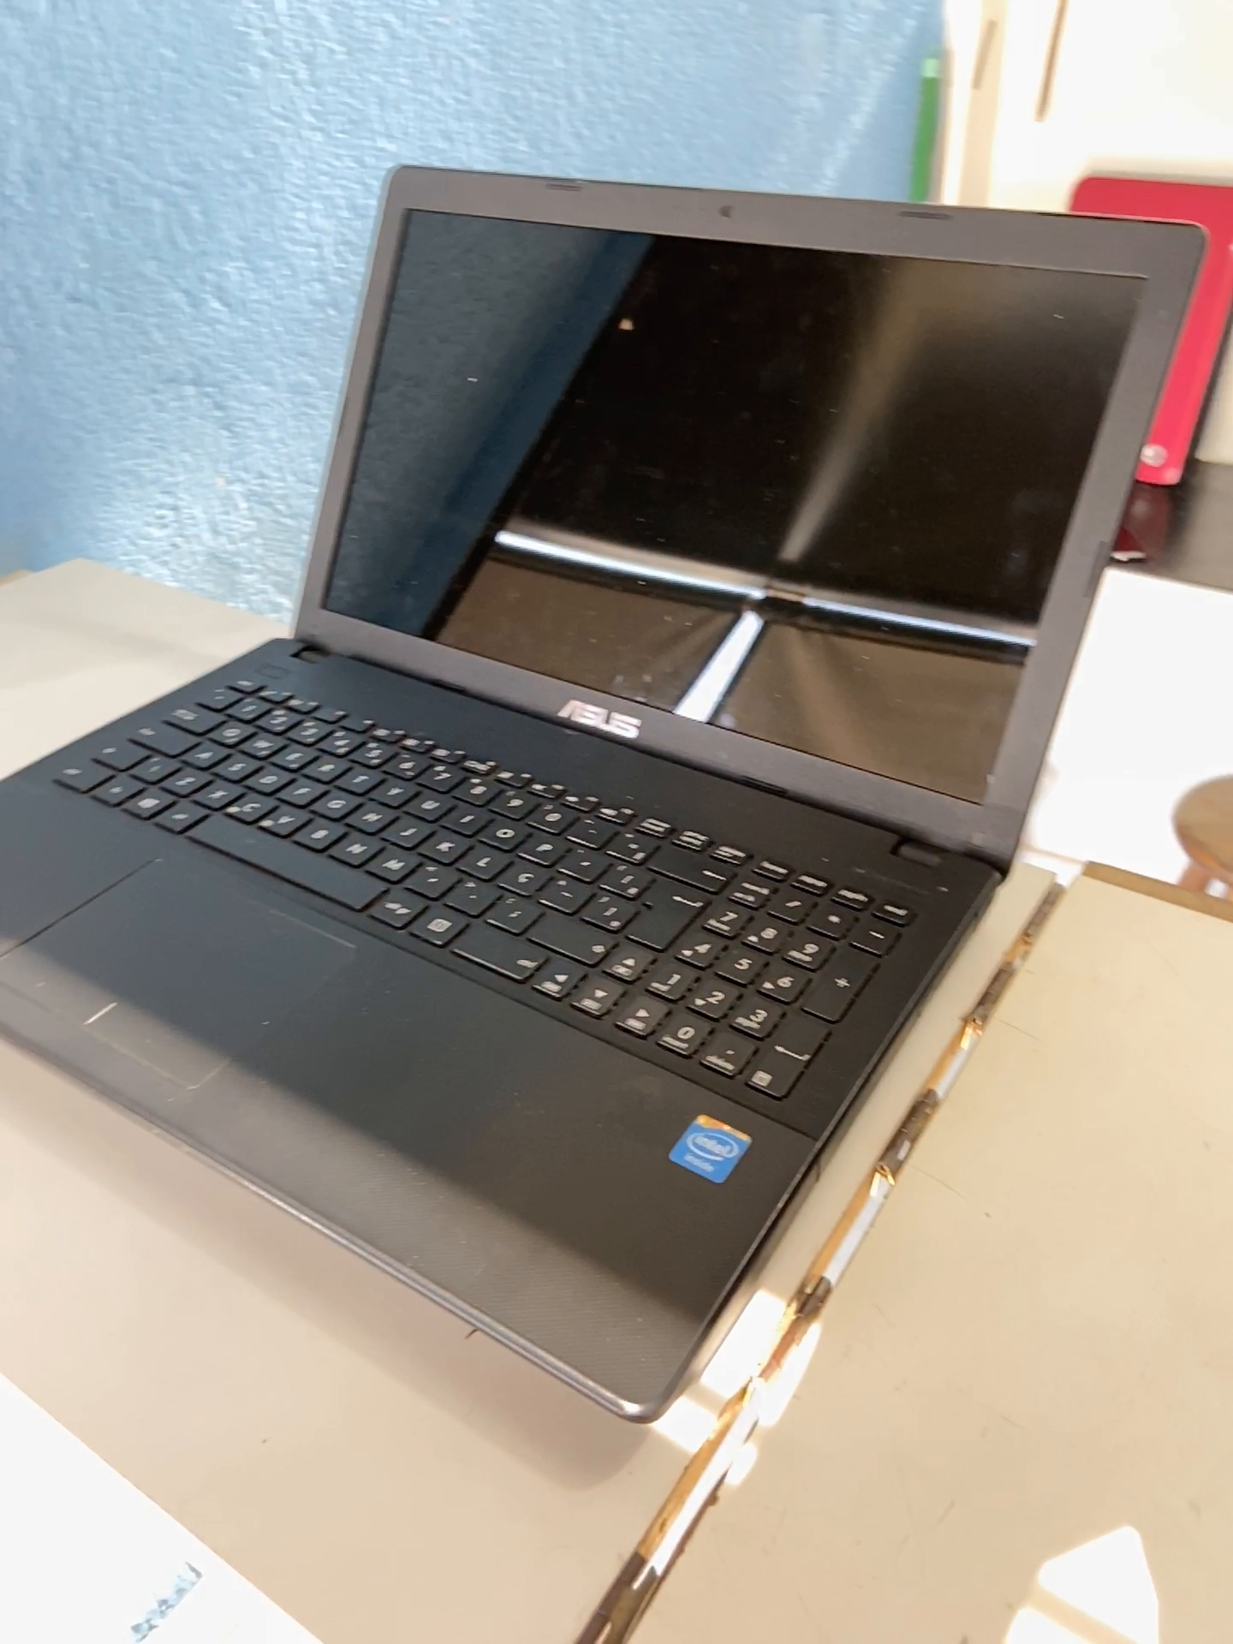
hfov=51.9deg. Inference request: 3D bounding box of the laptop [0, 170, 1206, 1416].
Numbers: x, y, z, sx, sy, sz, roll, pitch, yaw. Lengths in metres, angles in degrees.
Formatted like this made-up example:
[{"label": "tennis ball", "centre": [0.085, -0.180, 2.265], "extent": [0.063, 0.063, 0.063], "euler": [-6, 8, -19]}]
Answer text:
[{"label": "laptop", "centre": [-0.052, -0.089, 0.446], "extent": [0.368, 0.201, 0.363], "euler": [19, 39, 29]}]
